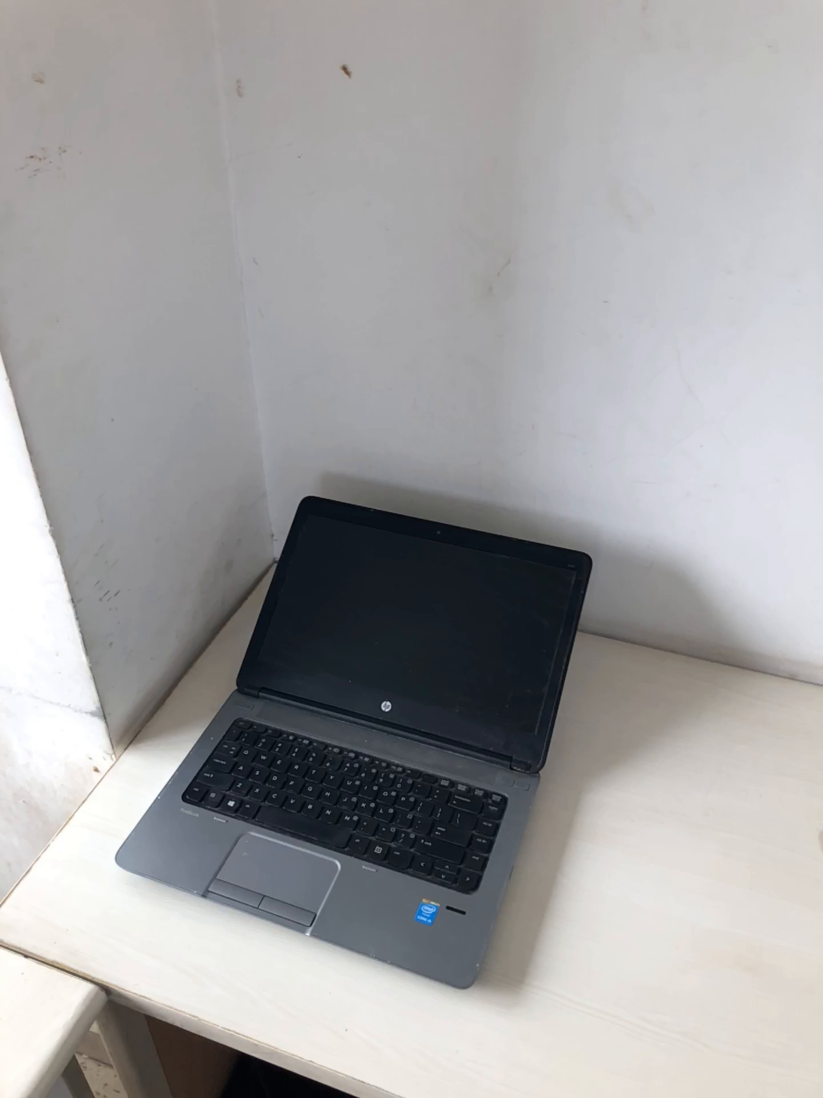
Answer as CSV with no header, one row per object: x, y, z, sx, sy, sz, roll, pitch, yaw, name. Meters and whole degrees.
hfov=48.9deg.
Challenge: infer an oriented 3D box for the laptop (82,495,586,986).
-0.041,0.145,0.883,0.327,0.137,0.408,13,39,15,laptop
